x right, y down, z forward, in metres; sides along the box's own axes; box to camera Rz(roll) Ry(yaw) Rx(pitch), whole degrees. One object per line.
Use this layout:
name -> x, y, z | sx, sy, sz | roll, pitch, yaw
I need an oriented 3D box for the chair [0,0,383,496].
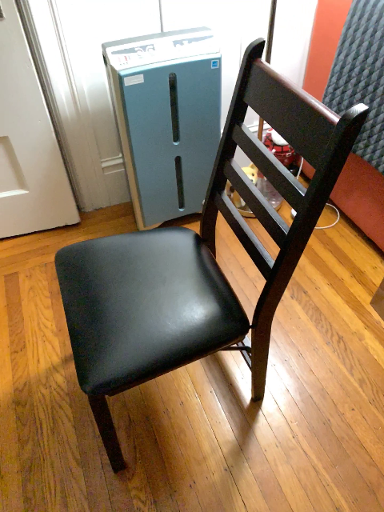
chair -> -0.076, 0.030, 0.869 | 0.550, 0.865, 0.493 | -18, 48, -15
